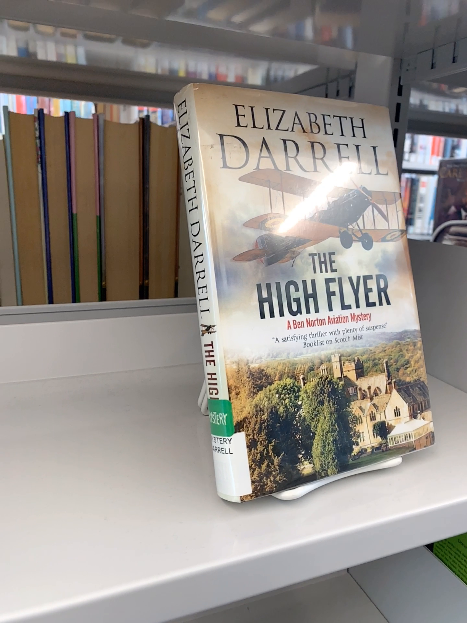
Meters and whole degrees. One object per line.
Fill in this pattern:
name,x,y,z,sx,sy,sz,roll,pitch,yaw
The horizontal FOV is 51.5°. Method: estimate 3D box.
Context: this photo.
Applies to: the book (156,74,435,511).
book,0.042,-0.017,0.286,0.151,0.214,0.031,-5,-2,-29
